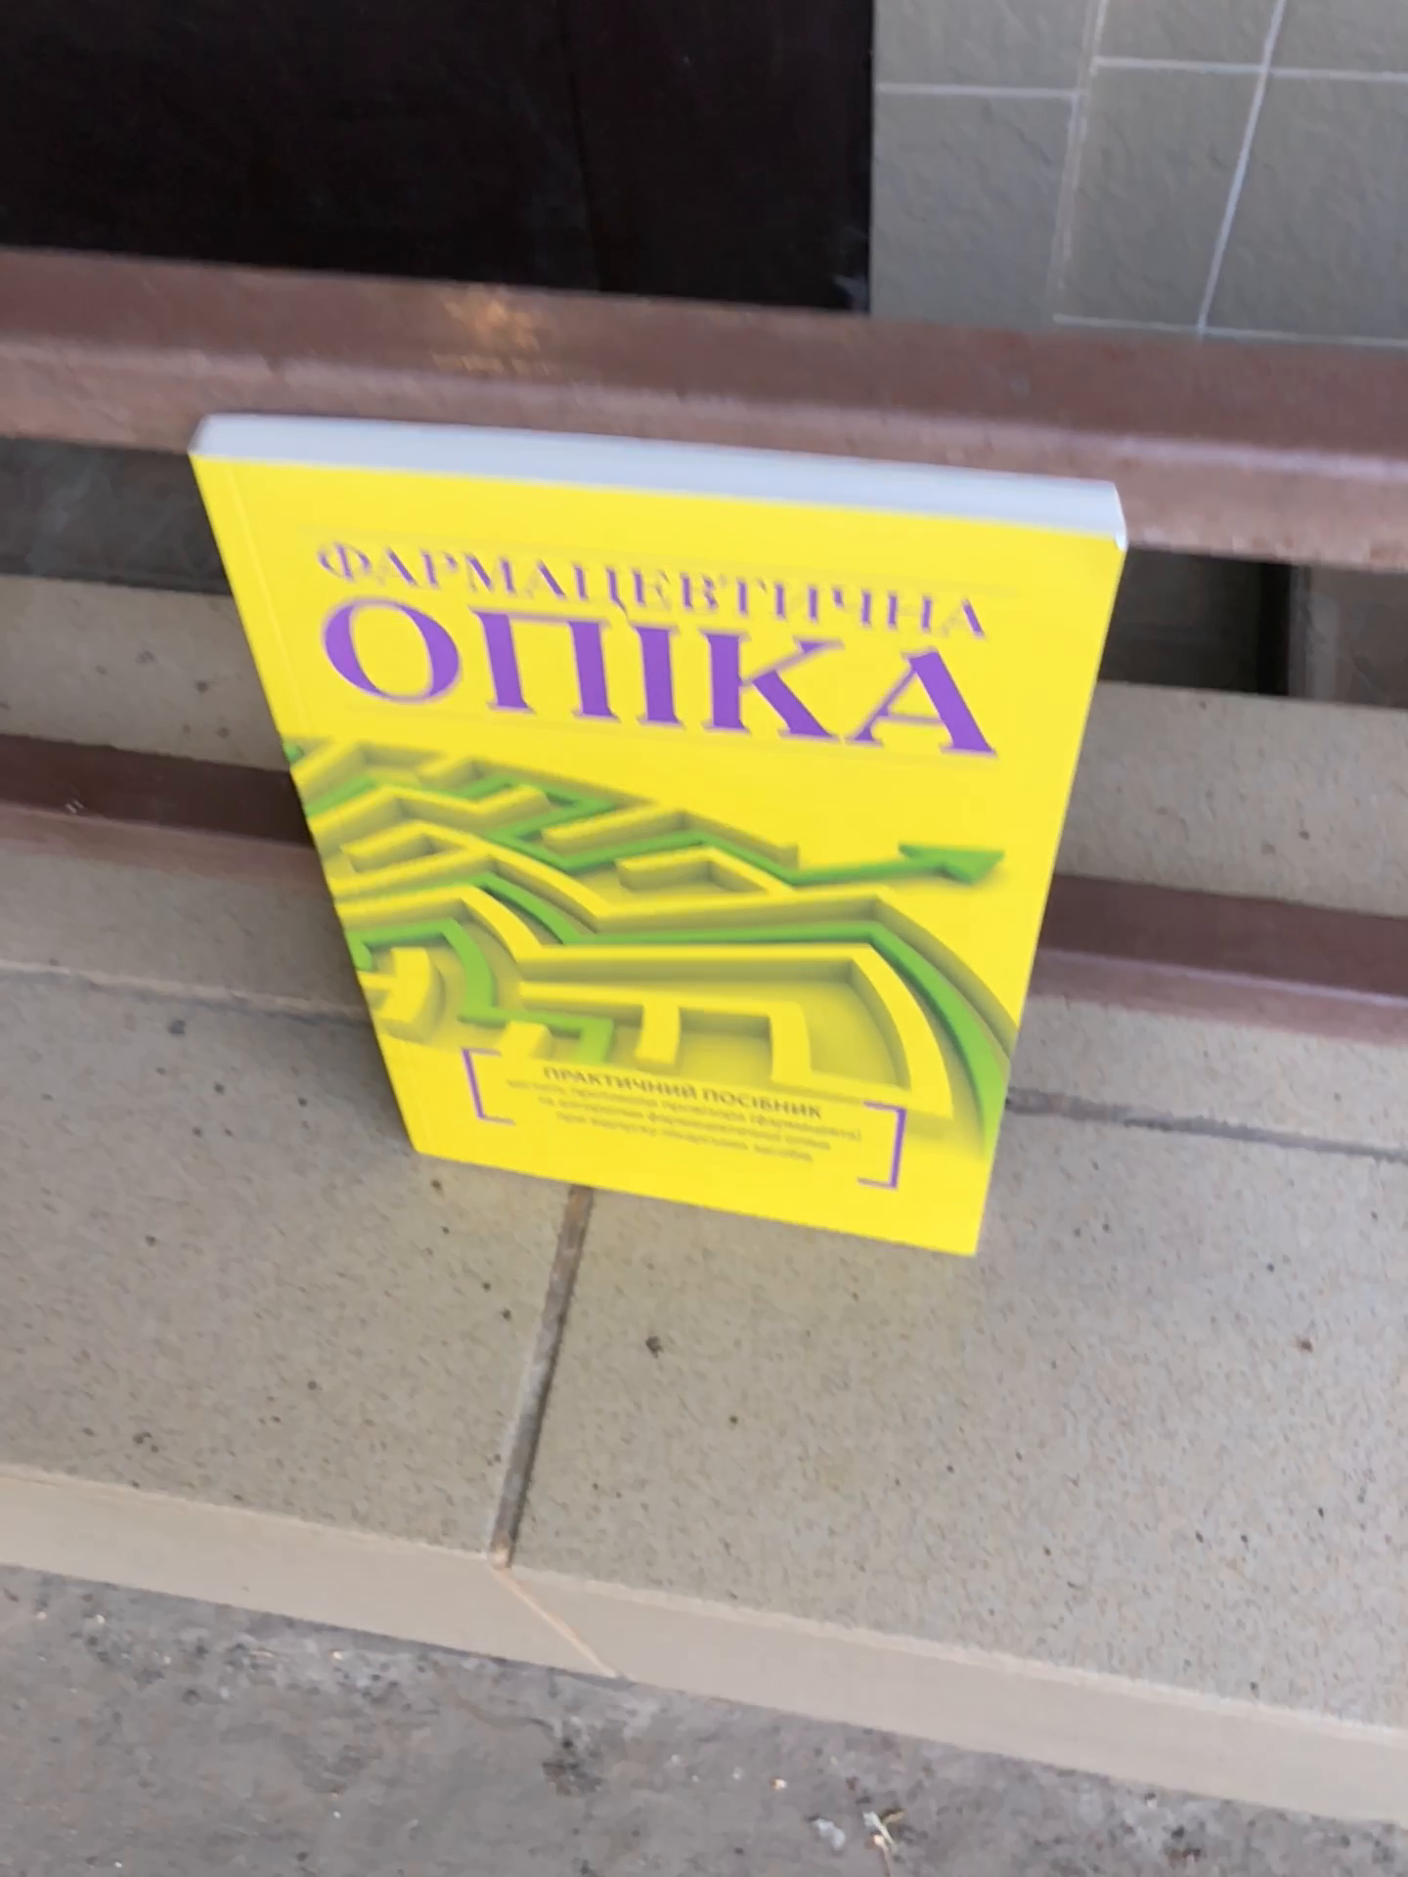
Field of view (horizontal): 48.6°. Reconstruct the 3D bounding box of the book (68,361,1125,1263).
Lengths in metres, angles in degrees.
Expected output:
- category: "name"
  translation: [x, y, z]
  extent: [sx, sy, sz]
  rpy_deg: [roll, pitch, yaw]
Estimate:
- category: "book"
  translation: [-0.016, -0.009, 0.361]
  extent: [0.180, 0.240, 0.030]
  rpy_deg: [8, 52, 9]
